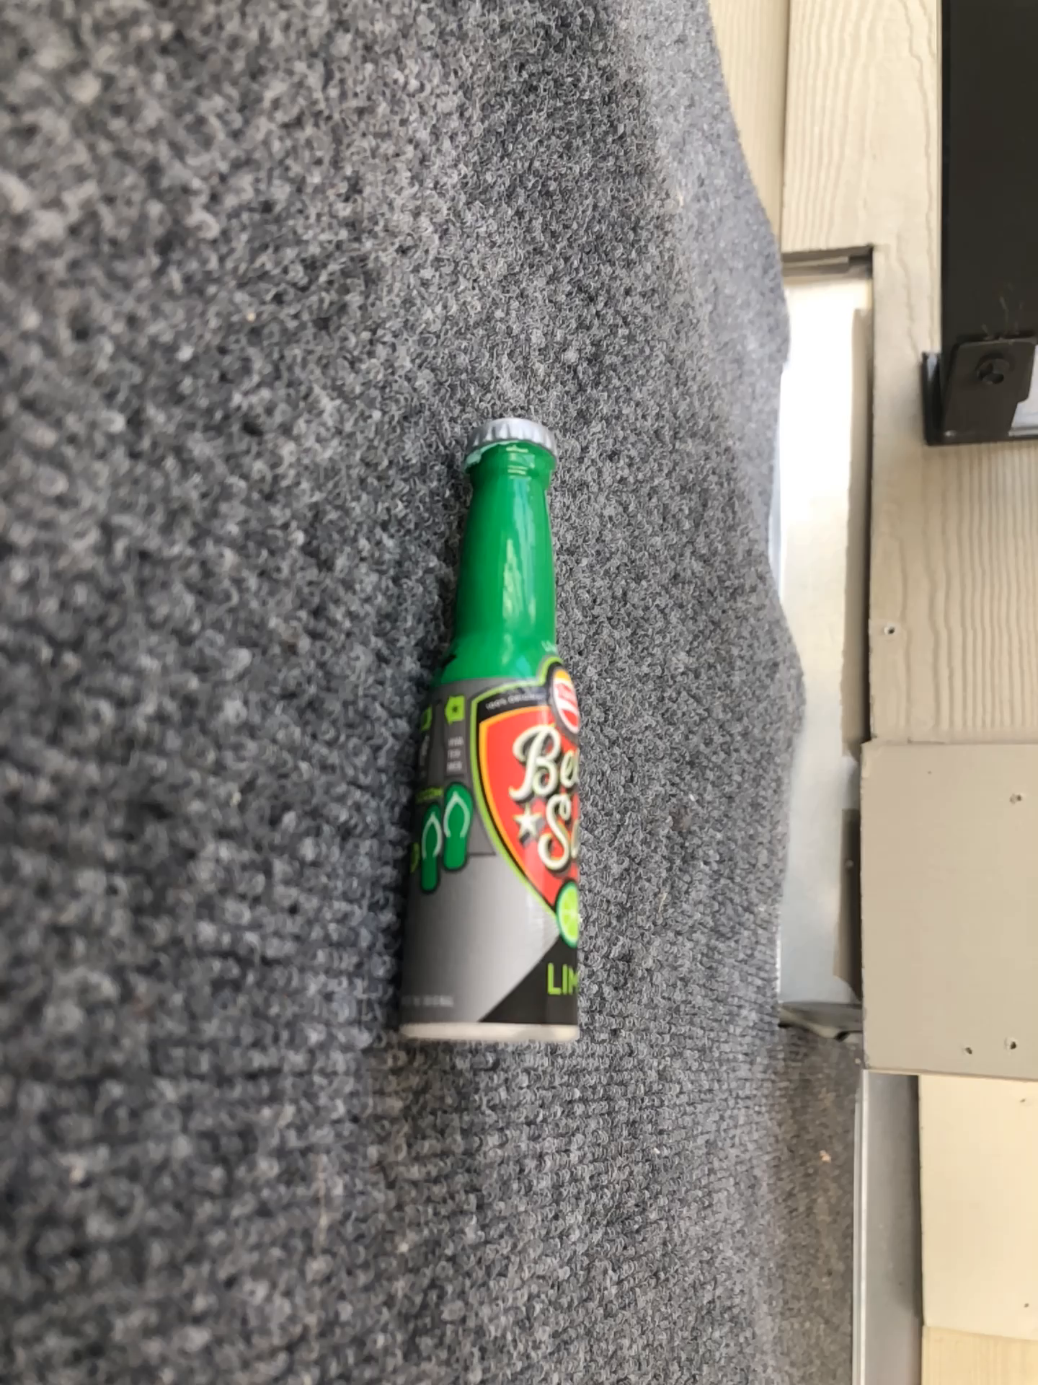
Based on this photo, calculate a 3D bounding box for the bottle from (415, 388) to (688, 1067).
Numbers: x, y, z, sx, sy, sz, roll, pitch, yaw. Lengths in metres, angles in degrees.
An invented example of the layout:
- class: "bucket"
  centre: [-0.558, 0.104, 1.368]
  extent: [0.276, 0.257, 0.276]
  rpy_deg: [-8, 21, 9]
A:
- class: "bottle"
  centre: [0.008, 0.006, 0.187]
  extent: [0.033, 0.030, 0.101]
  rpy_deg: [38, 53, -65]
